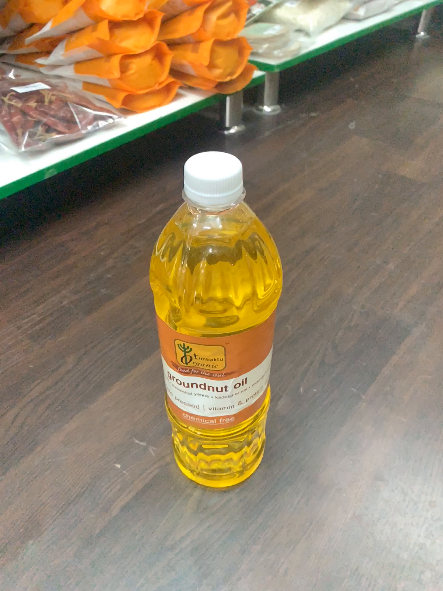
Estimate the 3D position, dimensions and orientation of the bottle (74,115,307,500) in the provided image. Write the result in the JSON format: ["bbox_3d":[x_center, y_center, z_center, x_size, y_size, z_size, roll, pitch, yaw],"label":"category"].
[{"bbox_3d":[-0.009,0.030,0.300,0.090,0.259,0.070,12,43,14],"label":"bottle"}]
